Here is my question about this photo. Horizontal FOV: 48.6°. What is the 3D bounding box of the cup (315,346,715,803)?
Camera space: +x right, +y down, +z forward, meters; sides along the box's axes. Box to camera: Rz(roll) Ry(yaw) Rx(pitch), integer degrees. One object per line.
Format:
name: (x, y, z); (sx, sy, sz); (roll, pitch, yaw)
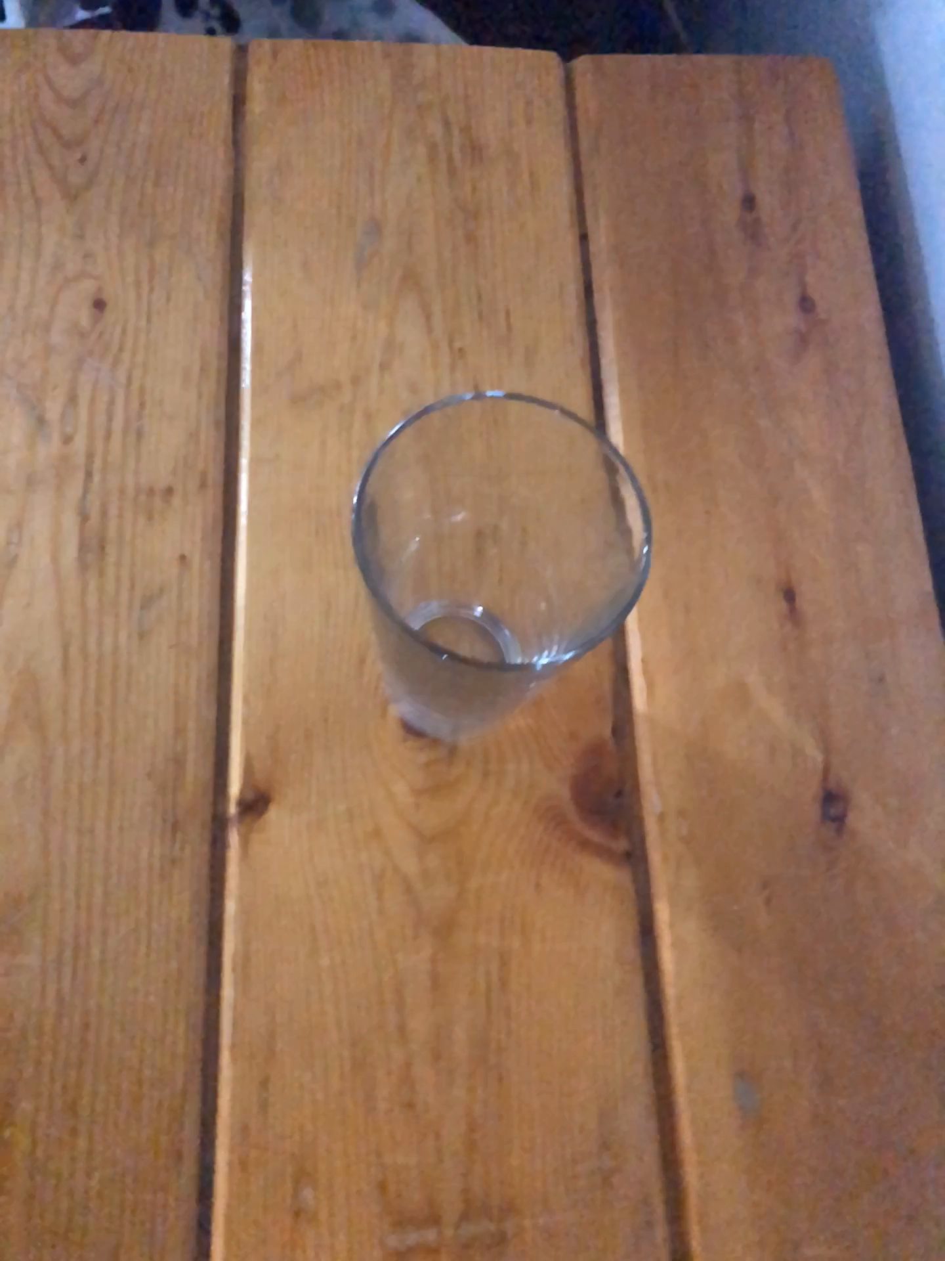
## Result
cup: (0.005, -0.008, 0.353); (0.090, 0.150, 0.090); (1, 71, -4)
